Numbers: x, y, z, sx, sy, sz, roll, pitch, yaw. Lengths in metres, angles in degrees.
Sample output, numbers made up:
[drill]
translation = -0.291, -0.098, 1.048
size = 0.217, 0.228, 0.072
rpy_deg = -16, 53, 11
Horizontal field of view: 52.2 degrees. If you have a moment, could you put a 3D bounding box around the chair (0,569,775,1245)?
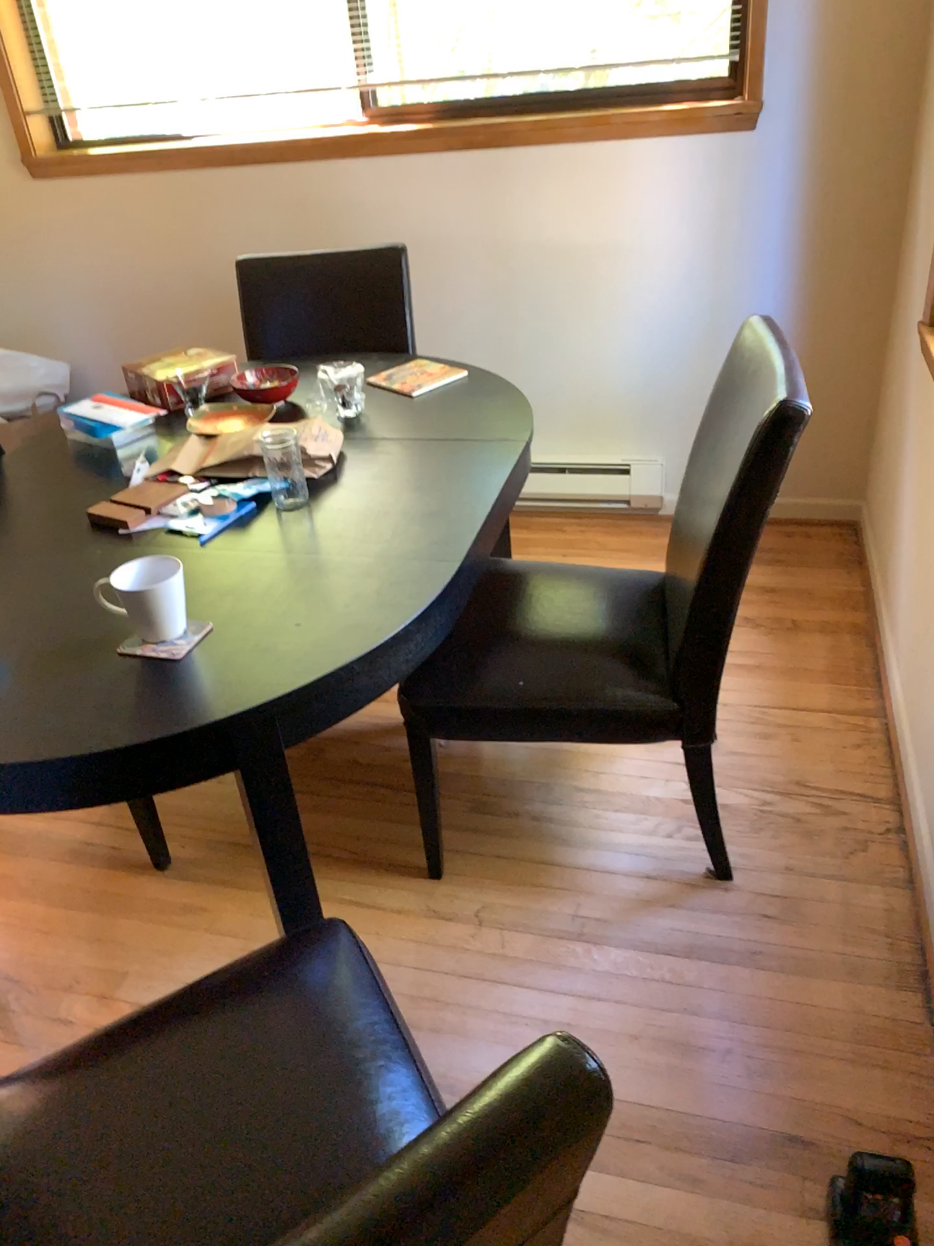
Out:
[chair]
translation = -0.213, 0.644, 0.930
size = 0.620, 1.084, 0.654
rpy_deg = -22, 35, -23
